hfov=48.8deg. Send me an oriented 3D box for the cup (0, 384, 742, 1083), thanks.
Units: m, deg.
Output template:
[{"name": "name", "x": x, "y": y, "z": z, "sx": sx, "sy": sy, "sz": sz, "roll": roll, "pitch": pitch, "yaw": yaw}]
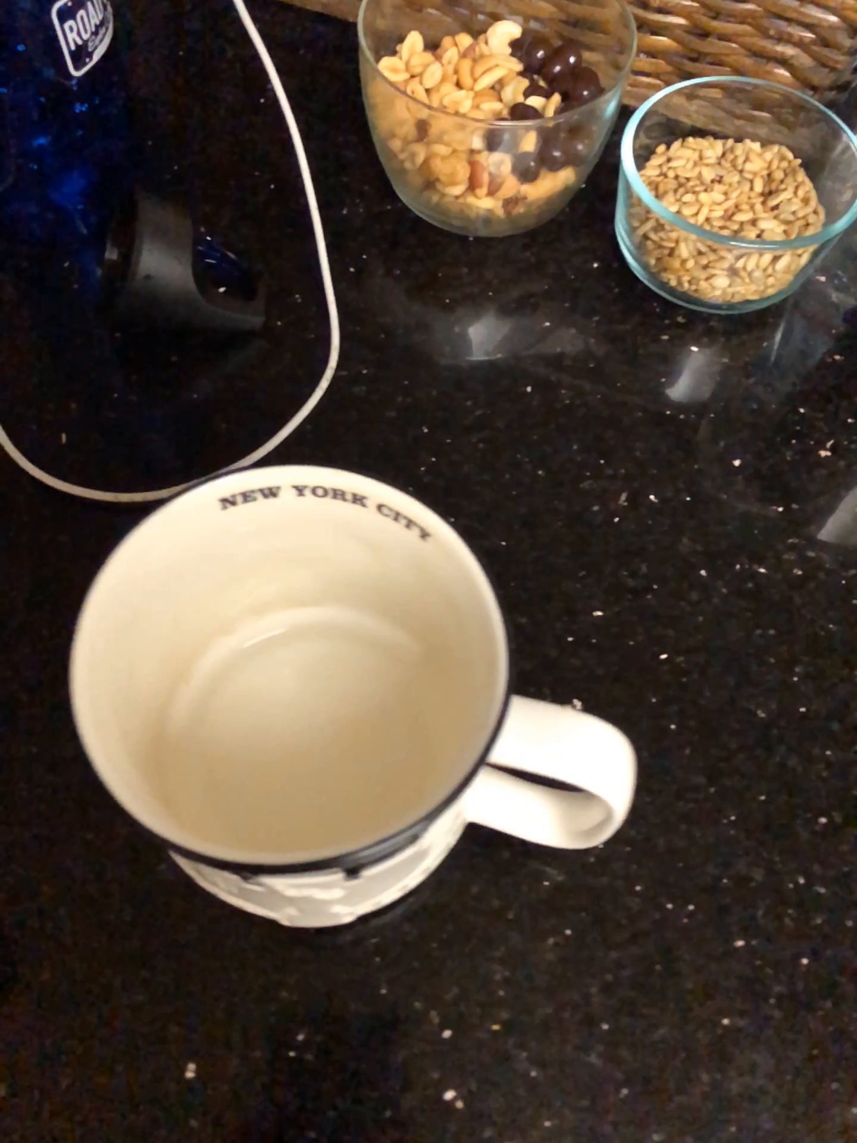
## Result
[{"name": "cup", "x": -0.015, "y": 0.045, "z": 0.261, "sx": 0.150, "sy": 0.090, "sz": 0.120, "roll": 20, "pitch": 64, "yaw": 8}]
